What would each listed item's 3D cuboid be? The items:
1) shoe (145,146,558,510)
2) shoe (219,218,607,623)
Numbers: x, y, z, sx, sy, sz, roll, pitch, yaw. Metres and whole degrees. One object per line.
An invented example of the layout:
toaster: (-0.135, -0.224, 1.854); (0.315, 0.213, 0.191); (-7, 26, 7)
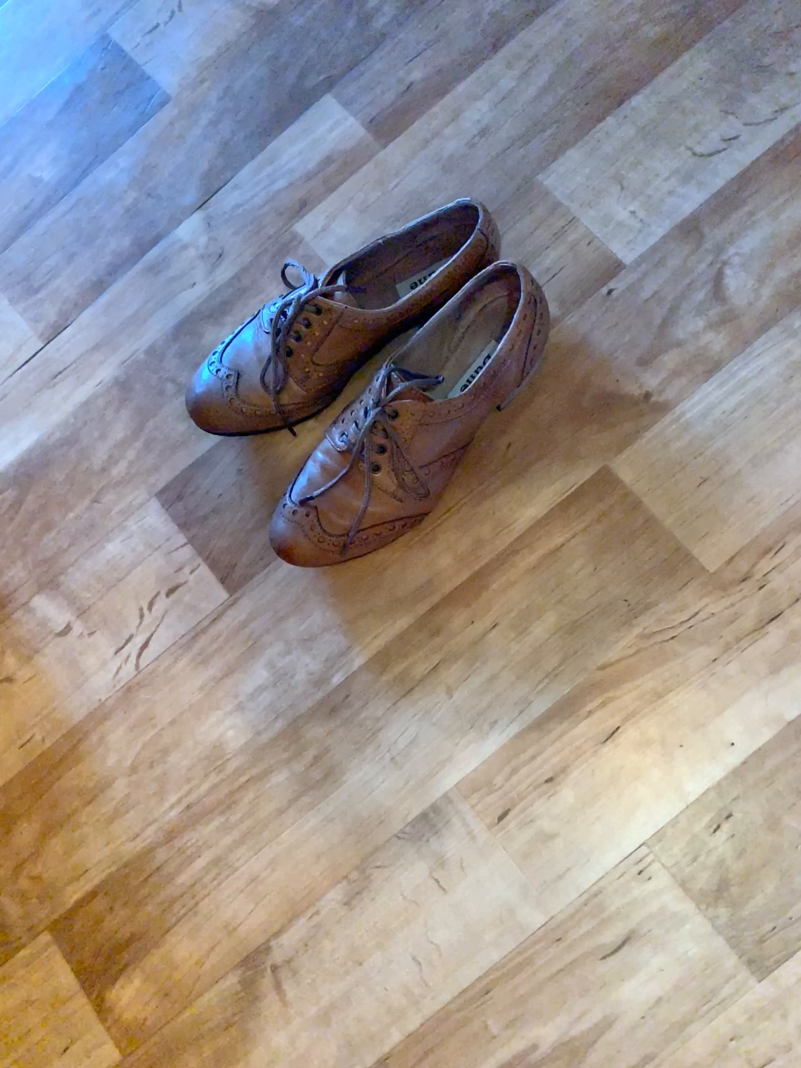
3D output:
shoe: (-0.024, -0.126, 0.550); (0.240, 0.120, 0.090); (-29, 75, 4)
shoe: (0.016, -0.060, 0.514); (0.230, 0.120, 0.080); (-46, 75, 0)
